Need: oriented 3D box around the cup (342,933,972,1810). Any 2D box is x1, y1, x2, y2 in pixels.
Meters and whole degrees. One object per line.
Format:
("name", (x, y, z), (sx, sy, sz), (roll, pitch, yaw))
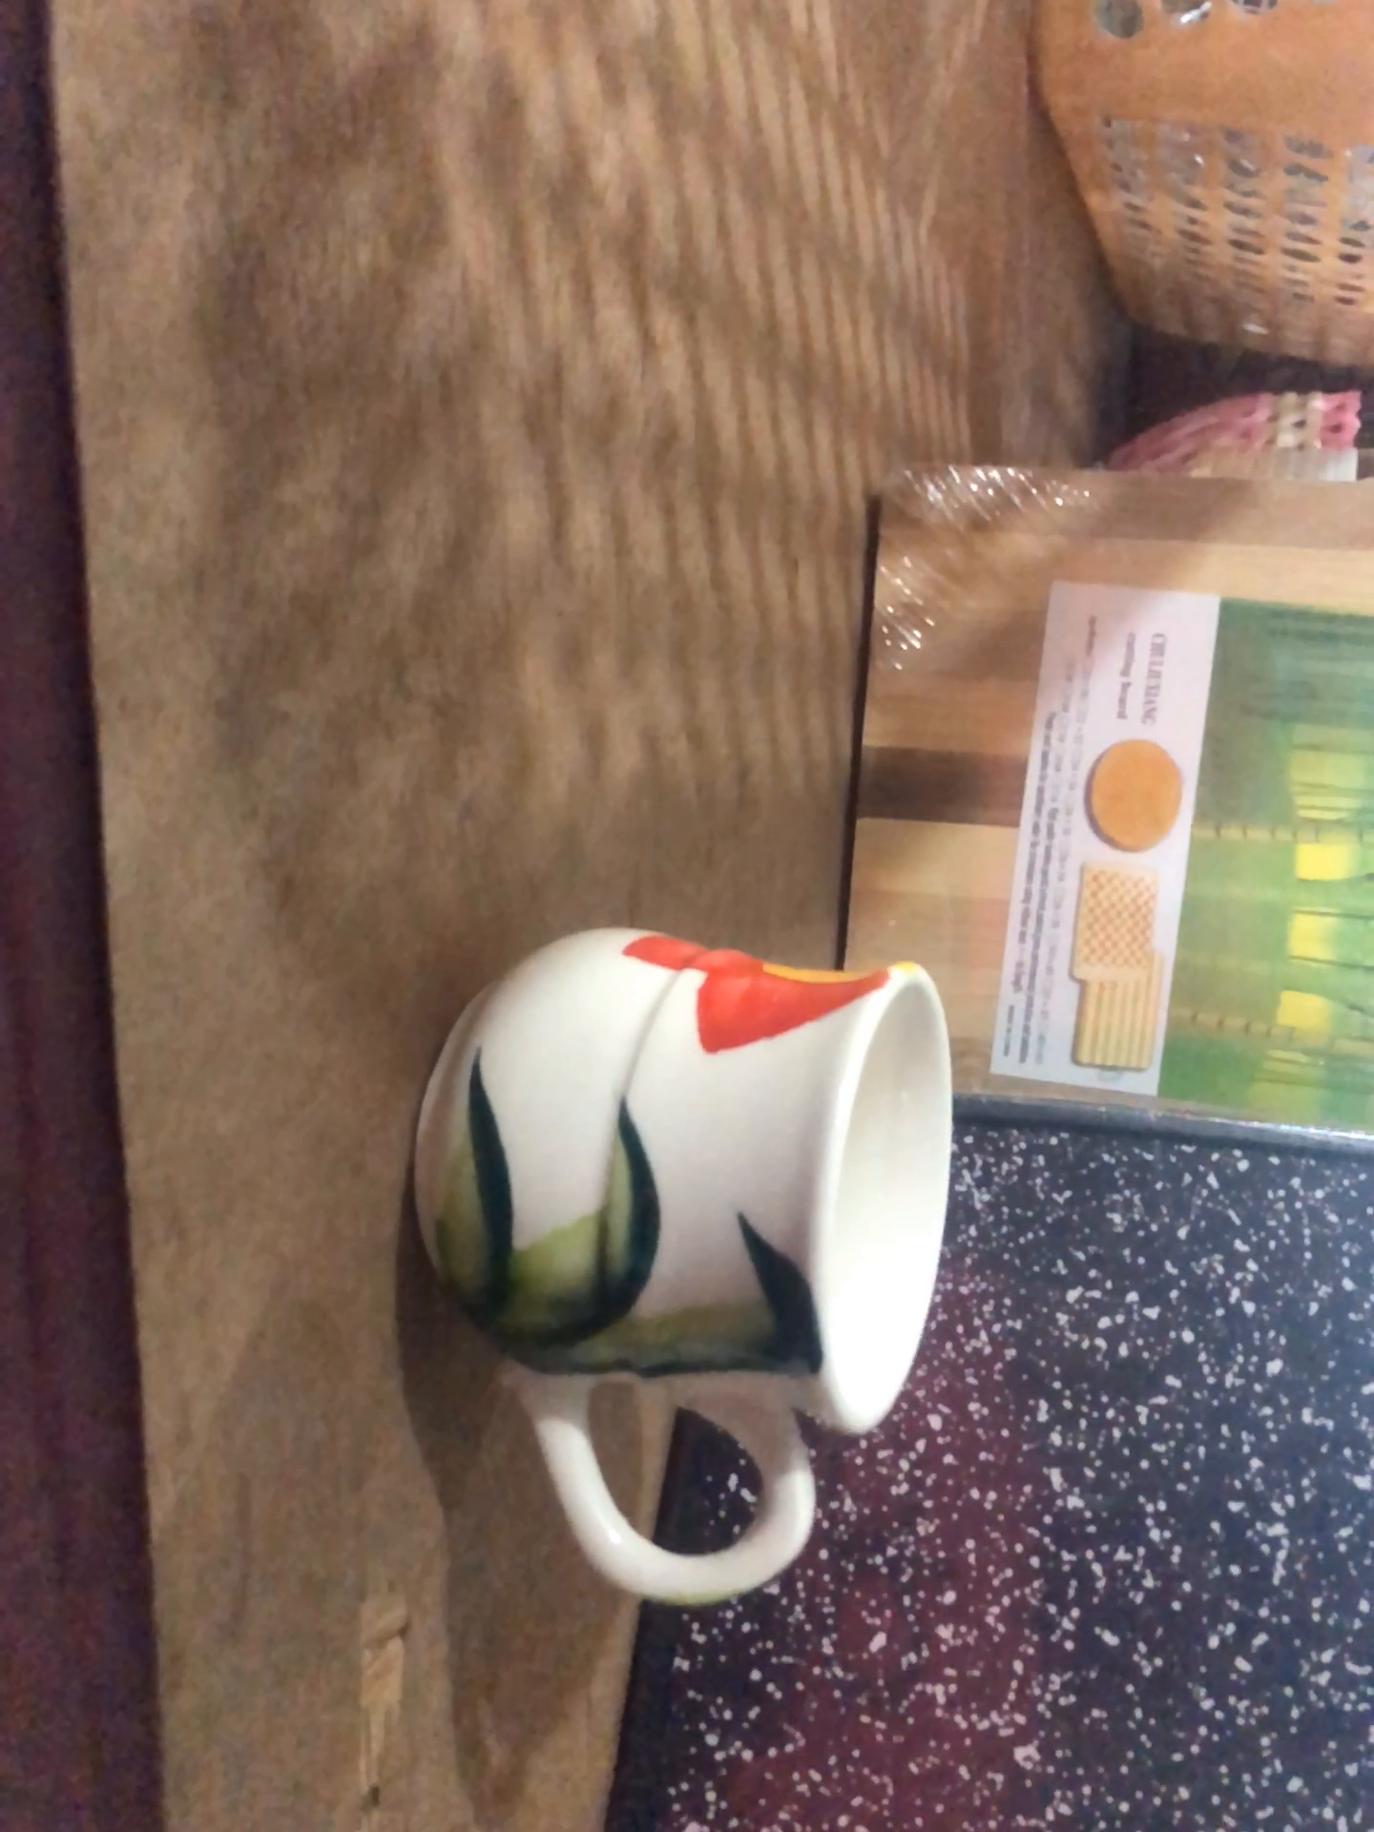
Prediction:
("cup", (-0.001, 0.050, 0.203), (0.060, 0.060, 0.090), (-3, 96, -68))
